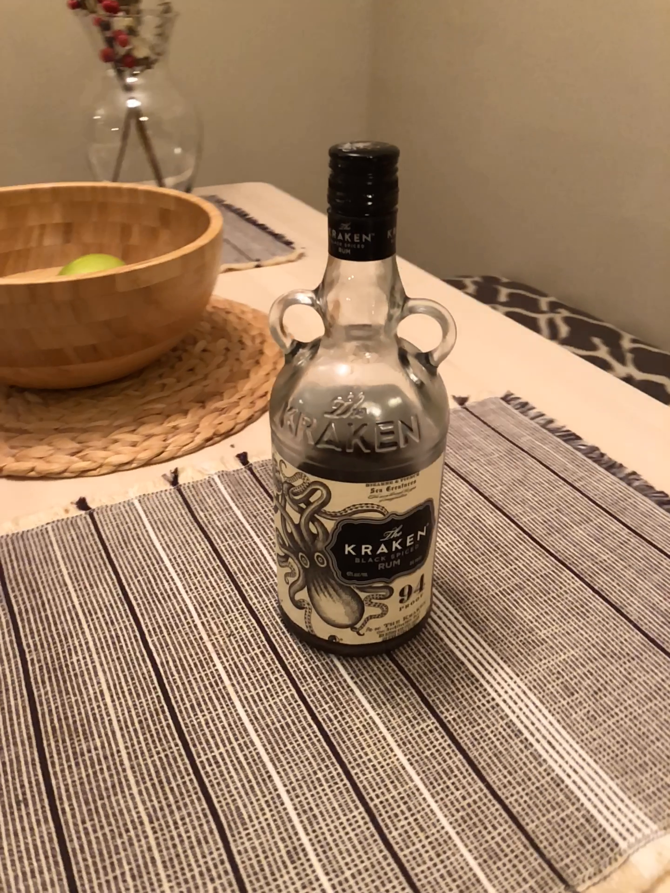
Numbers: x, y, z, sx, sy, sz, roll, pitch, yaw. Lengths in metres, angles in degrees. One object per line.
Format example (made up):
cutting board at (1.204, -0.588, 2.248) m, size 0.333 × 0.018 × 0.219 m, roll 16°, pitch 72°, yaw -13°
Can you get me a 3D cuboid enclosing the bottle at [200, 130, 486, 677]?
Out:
bottle at (0.004, -0.014, 0.365) m, size 0.100 × 0.248 × 0.101 m, roll 0°, pitch 32°, yaw 0°
